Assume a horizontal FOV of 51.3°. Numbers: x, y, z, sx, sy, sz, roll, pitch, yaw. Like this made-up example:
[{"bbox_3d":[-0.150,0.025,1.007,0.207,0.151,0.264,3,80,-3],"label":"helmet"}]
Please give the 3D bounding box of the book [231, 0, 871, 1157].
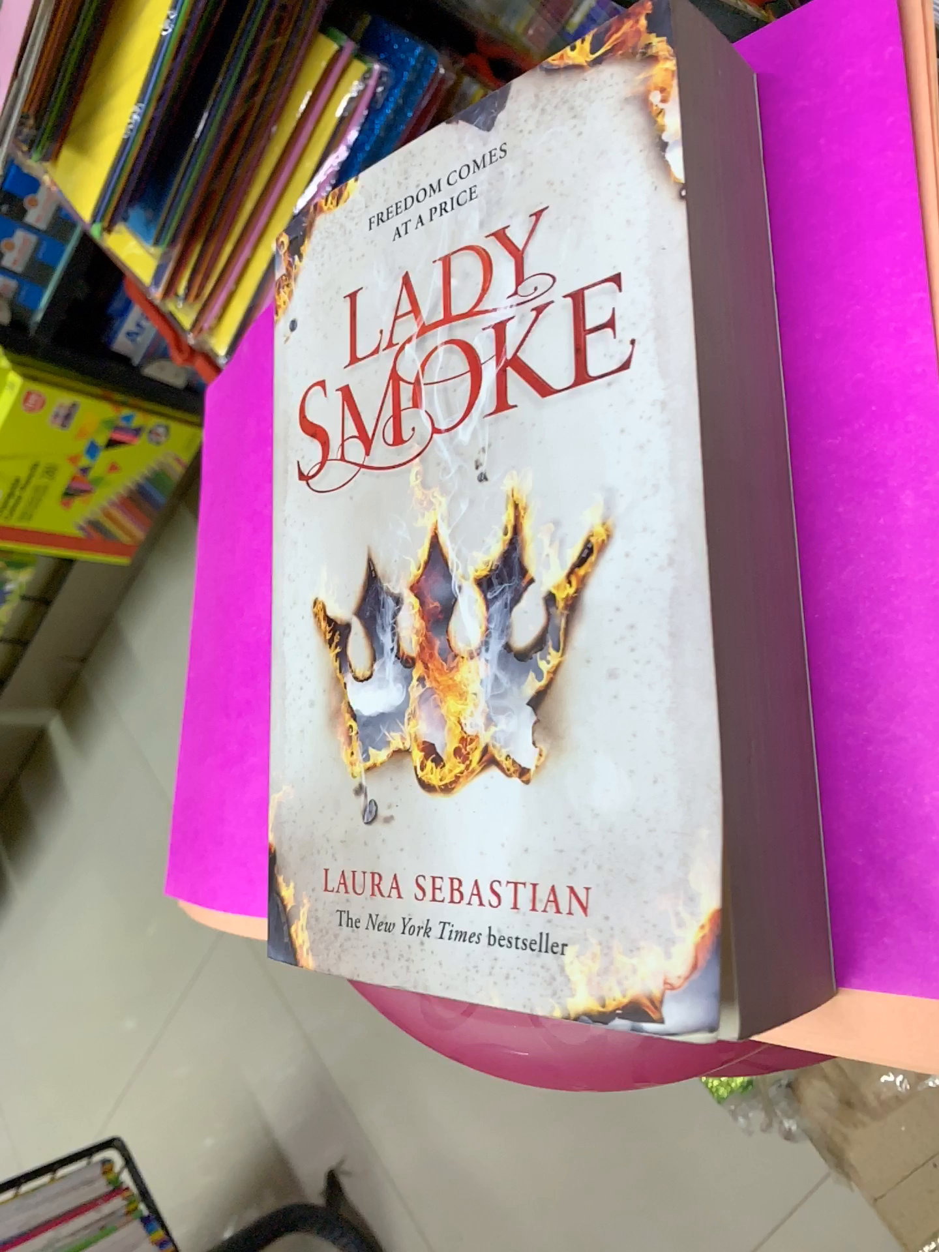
[{"bbox_3d":[0.008,-0.010,0.222,0.131,0.050,0.200,-7,83,39],"label":"book"}]
